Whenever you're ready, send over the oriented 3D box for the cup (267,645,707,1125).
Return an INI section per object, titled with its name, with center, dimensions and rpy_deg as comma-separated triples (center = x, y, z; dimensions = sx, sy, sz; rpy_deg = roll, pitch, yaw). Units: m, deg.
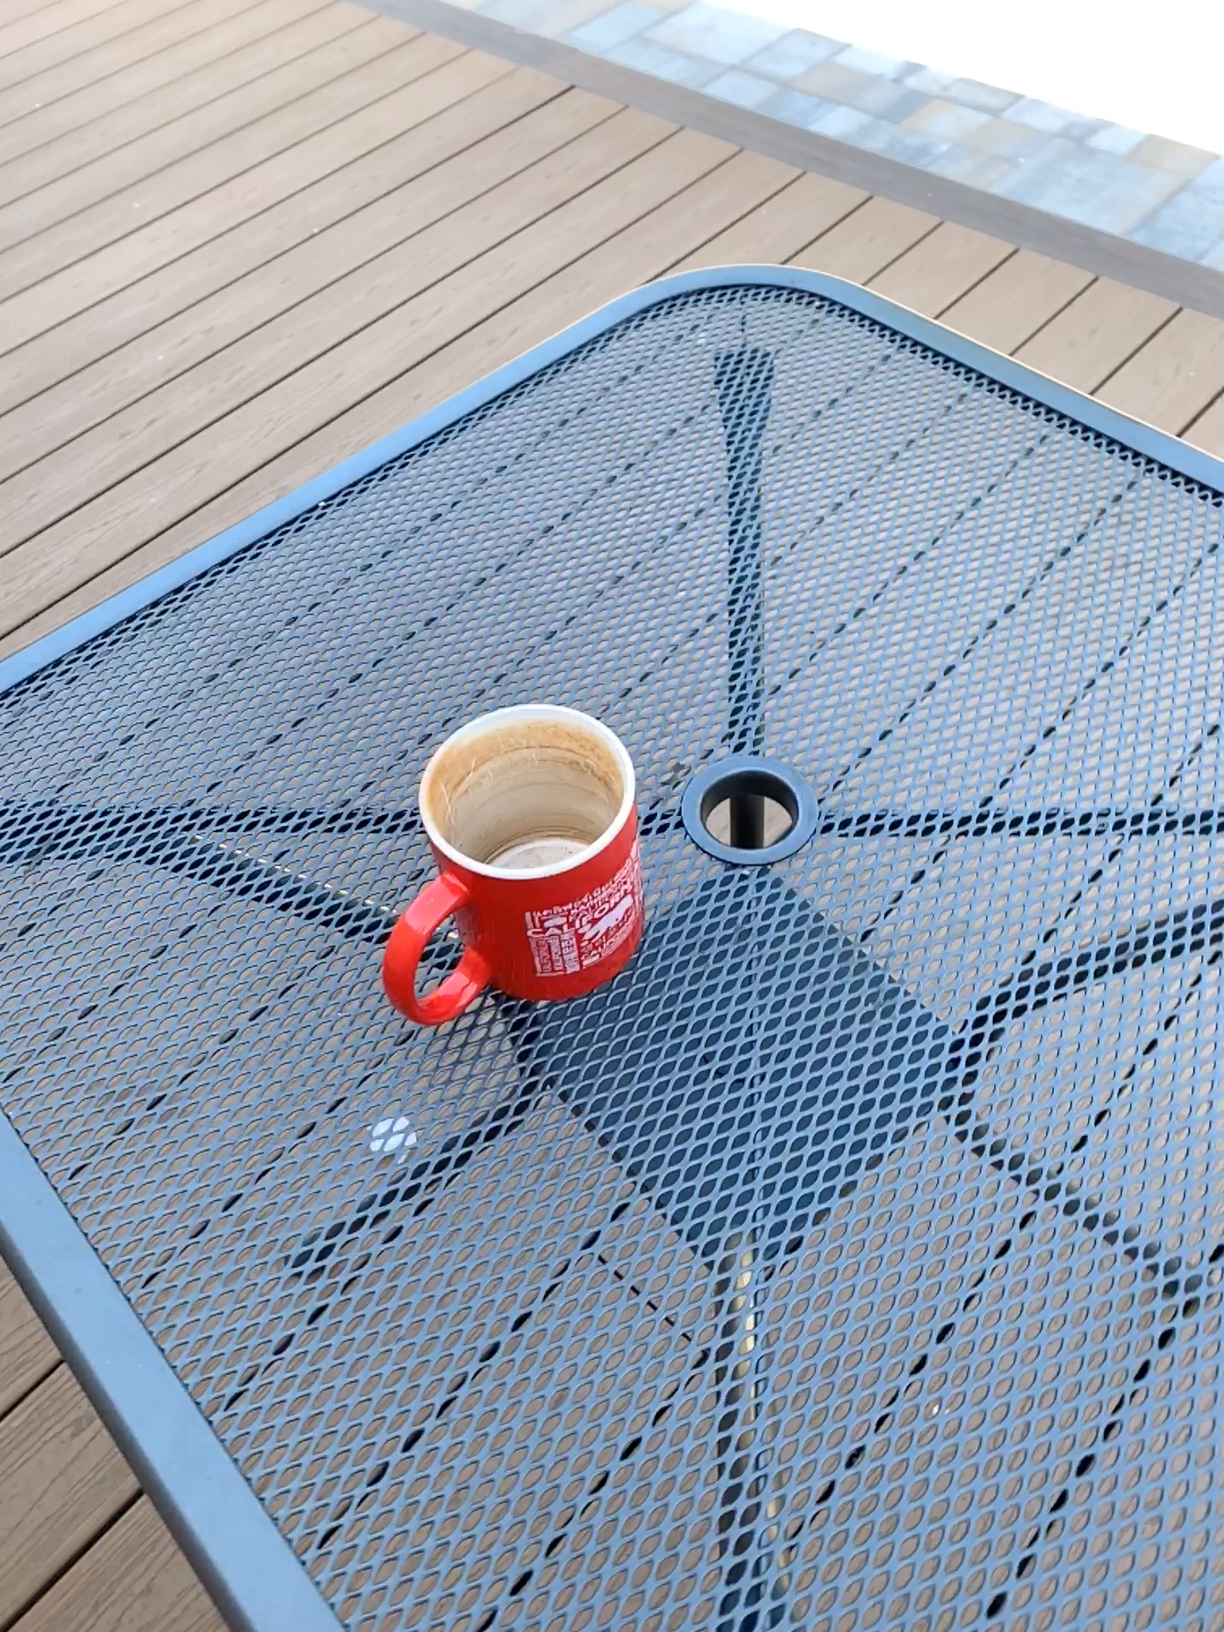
[cup]
center = -0.044, 0.027, 0.520
dimensions = 0.100, 0.100, 0.140
rpy_deg = 34, 63, 25
